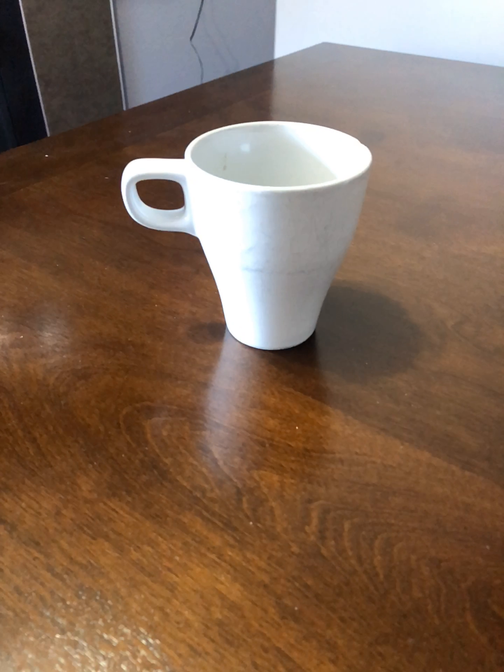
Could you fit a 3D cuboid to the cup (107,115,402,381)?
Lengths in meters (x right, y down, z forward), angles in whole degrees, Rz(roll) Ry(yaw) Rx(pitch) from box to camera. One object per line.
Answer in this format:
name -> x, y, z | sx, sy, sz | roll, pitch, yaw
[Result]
cup -> -0.004, -0.047, 0.286 | 0.120, 0.100, 0.080 | -5, 38, -8
